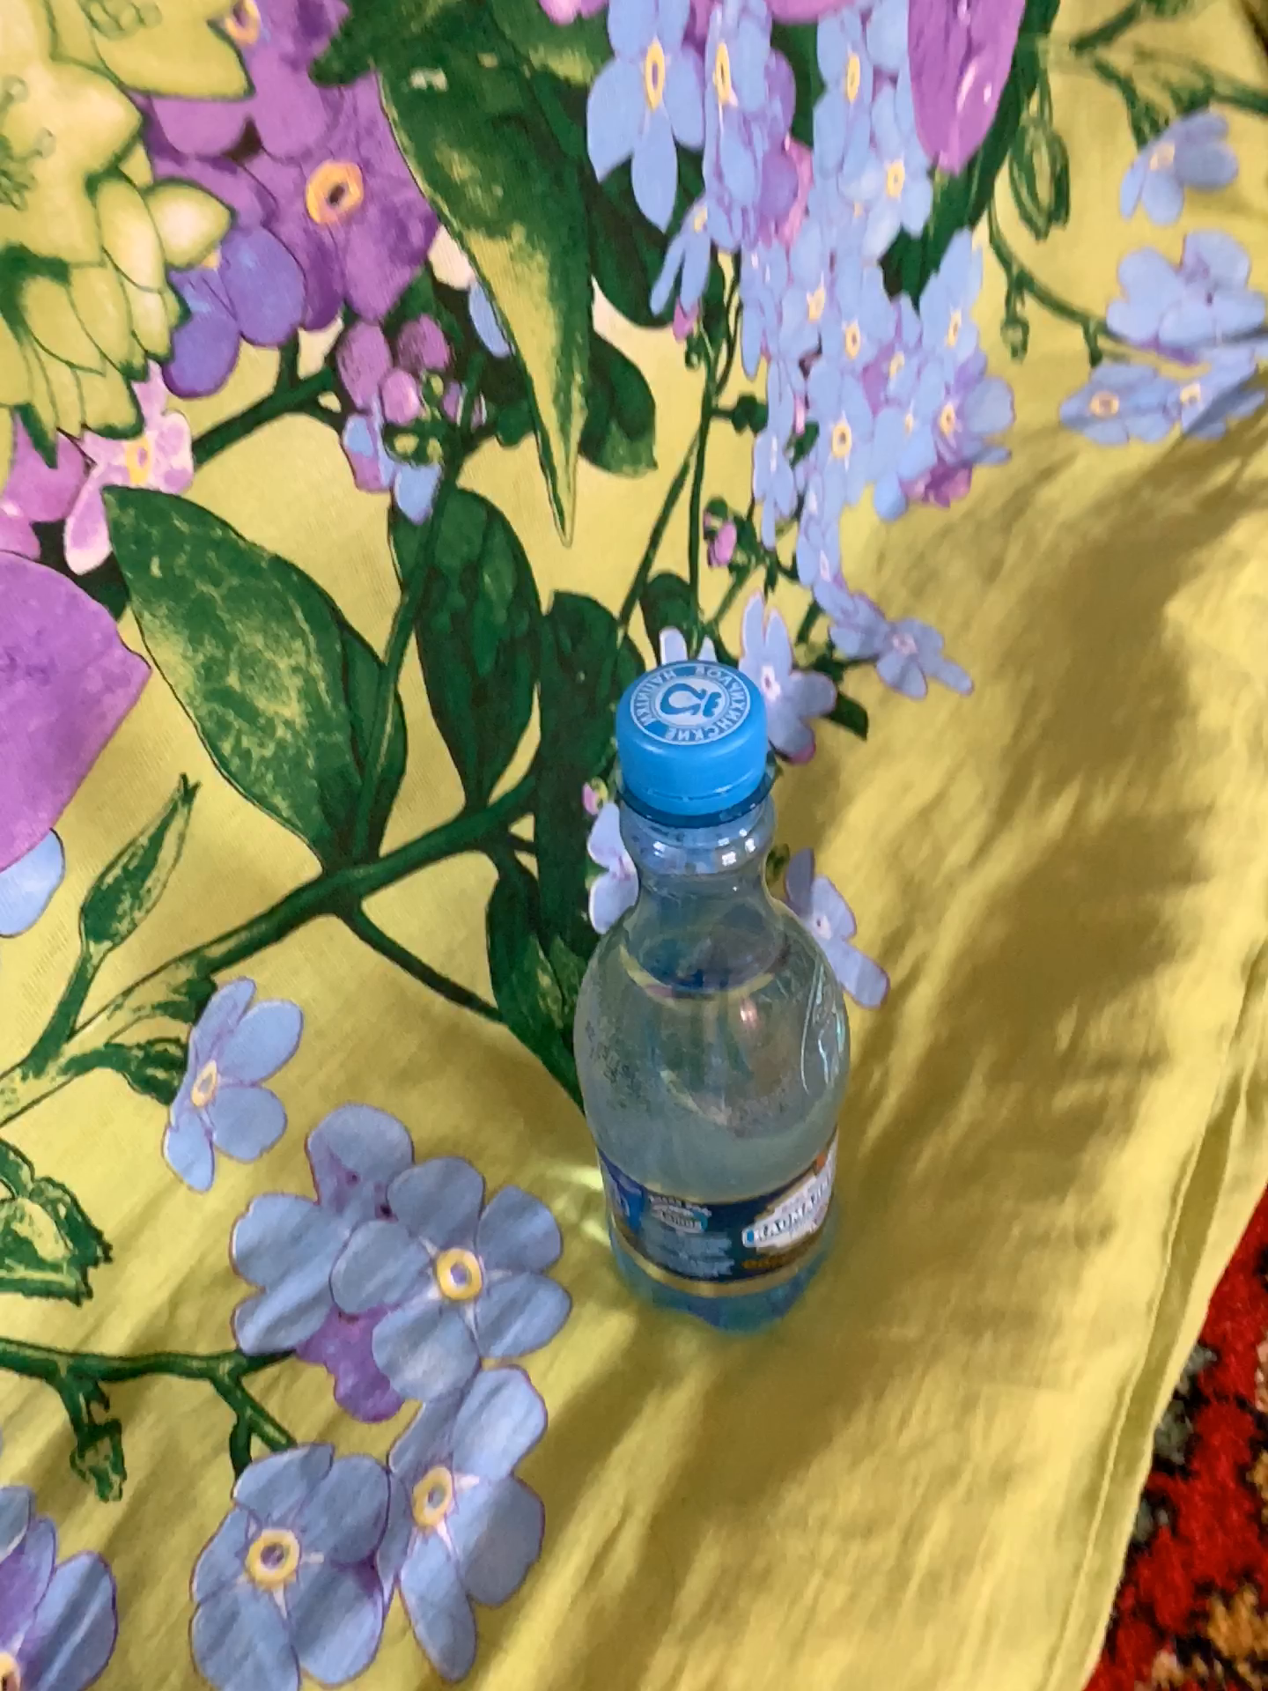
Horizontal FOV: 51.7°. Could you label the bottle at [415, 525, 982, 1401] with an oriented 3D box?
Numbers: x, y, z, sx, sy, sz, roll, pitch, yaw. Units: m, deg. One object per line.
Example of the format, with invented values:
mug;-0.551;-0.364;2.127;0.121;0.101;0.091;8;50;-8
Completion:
bottle;0.019;0.044;0.322;0.070;0.218;0.080;29;57;26
